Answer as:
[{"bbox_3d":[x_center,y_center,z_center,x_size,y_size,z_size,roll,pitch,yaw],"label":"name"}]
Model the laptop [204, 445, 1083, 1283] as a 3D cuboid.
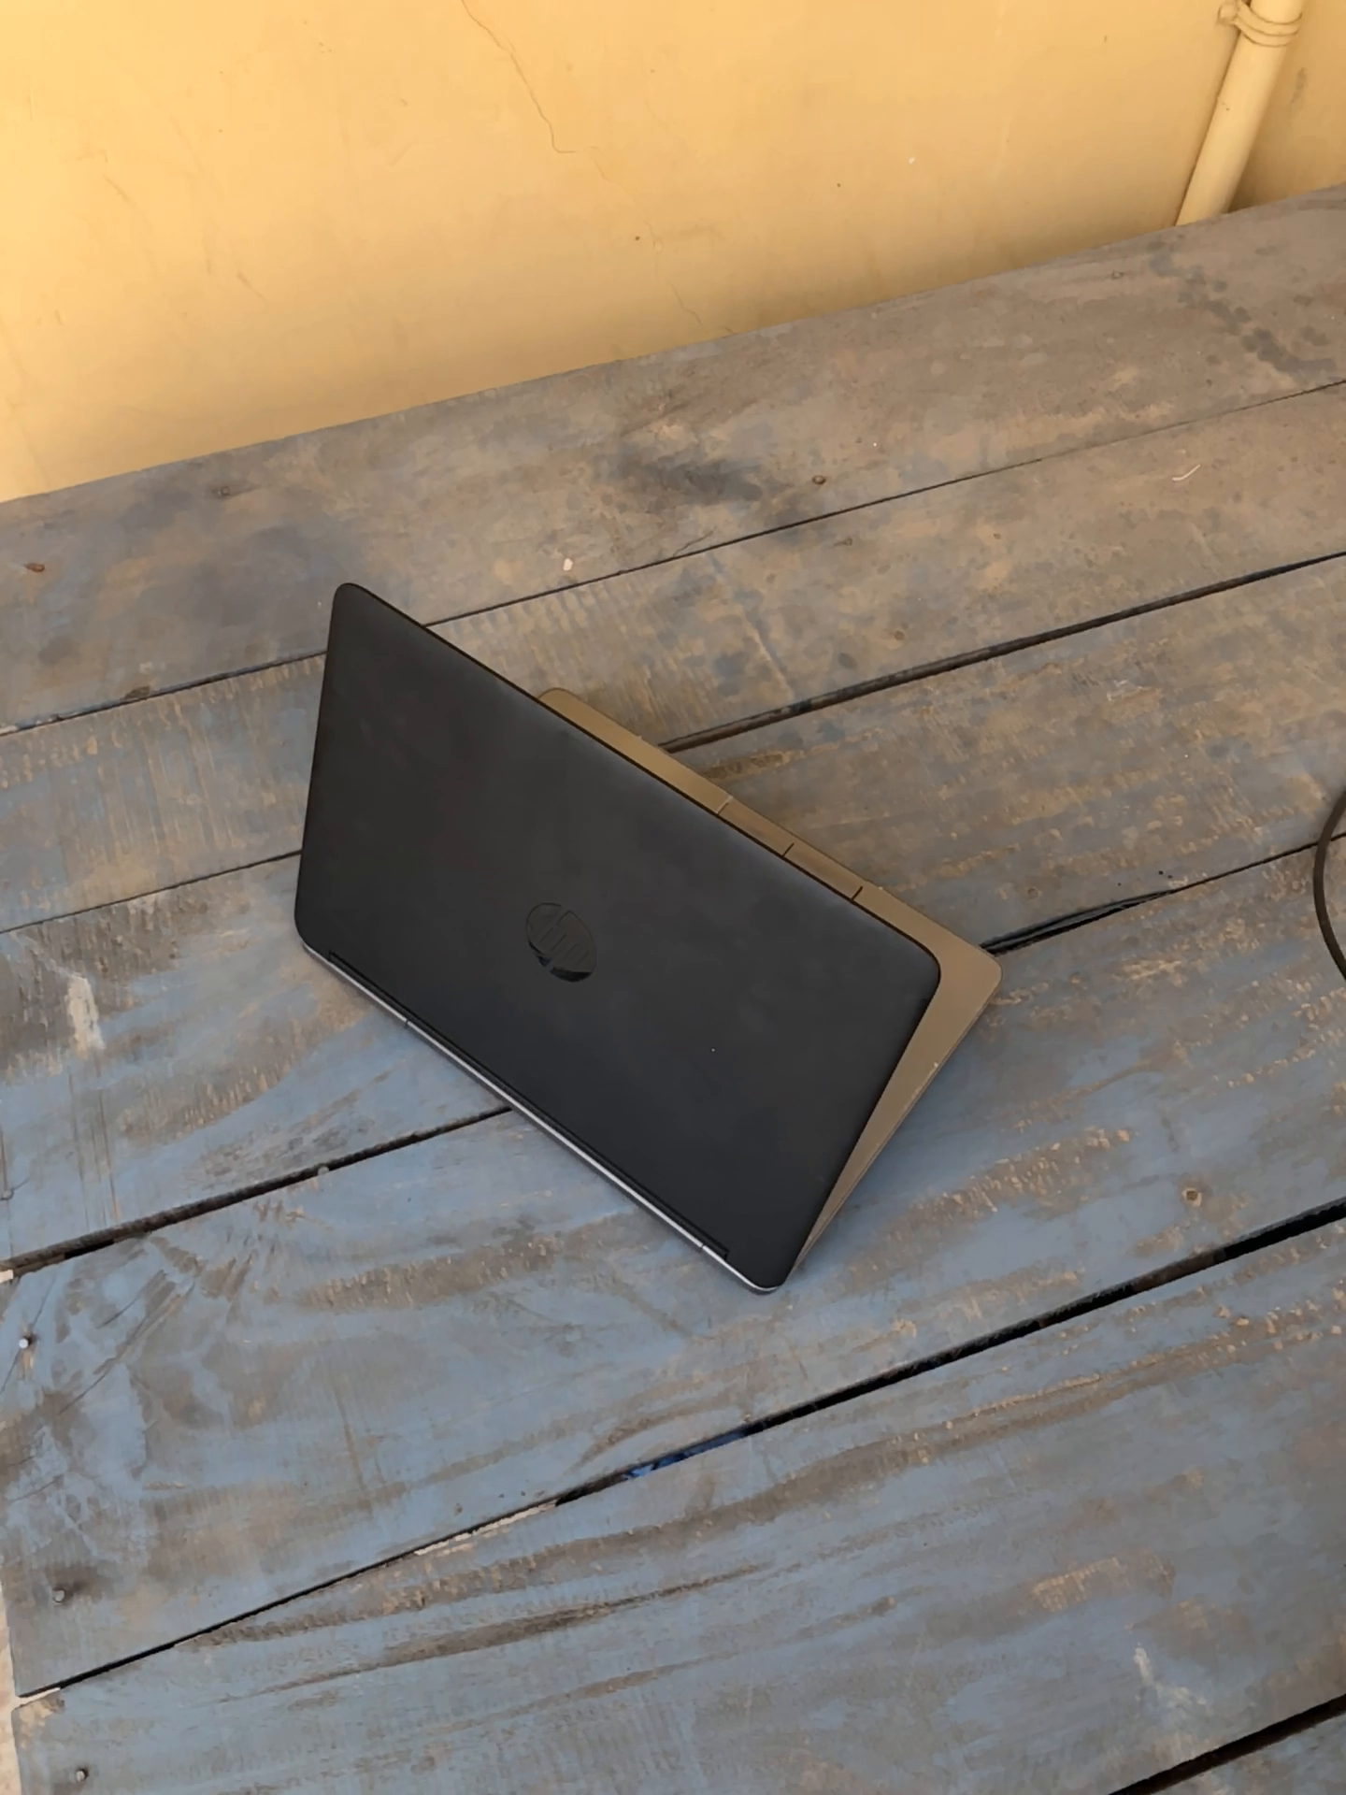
[{"bbox_3d":[-0.015,-0.019,0.724,0.317,0.196,0.210,34,65,19],"label":"laptop"}]
